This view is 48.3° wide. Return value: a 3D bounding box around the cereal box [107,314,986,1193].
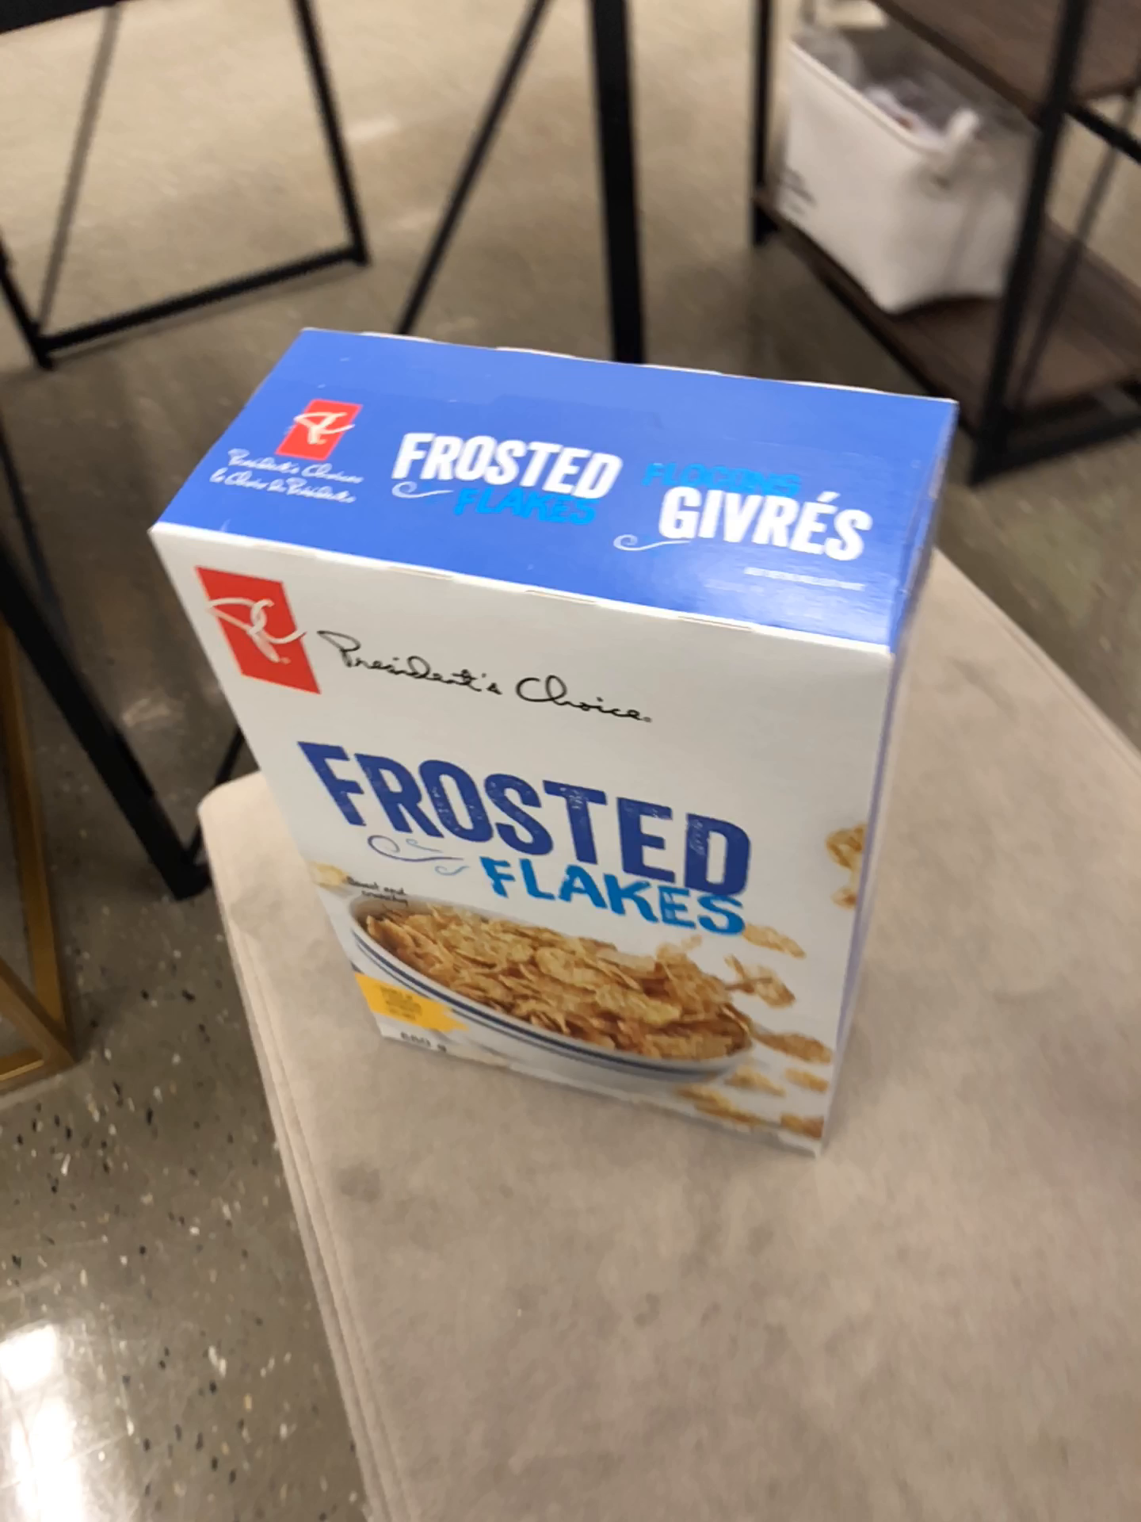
[{"bbox_3d":[0.008,0.016,0.431,0.200,0.289,0.100,12,53,16],"label":"cereal box"}]
